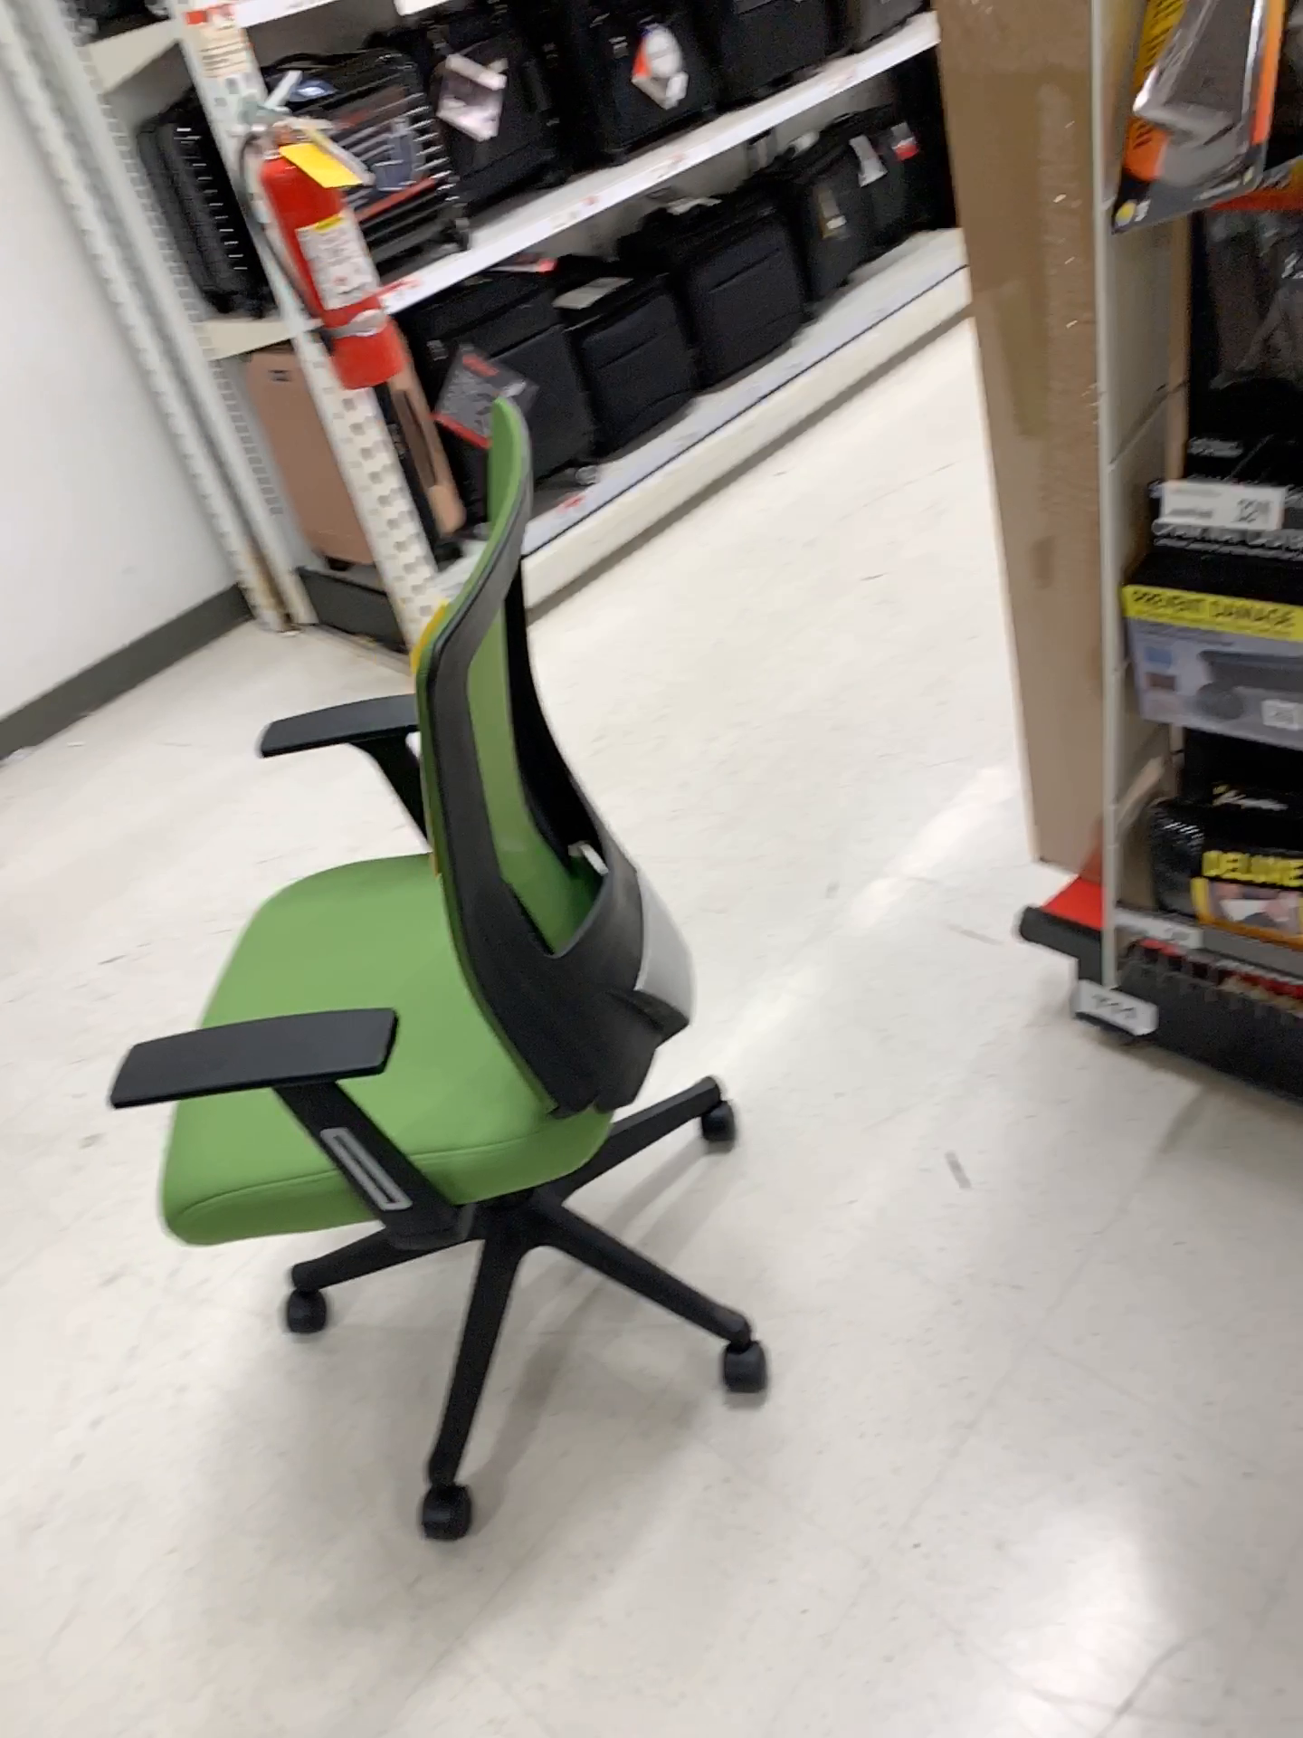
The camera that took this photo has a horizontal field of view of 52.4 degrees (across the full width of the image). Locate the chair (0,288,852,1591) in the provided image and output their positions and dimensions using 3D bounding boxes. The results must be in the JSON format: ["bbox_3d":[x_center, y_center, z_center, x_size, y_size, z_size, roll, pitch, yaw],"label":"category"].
[{"bbox_3d":[-0.247,0.106,1.318,0.671,0.994,0.673,-11,37,7],"label":"chair"}]
